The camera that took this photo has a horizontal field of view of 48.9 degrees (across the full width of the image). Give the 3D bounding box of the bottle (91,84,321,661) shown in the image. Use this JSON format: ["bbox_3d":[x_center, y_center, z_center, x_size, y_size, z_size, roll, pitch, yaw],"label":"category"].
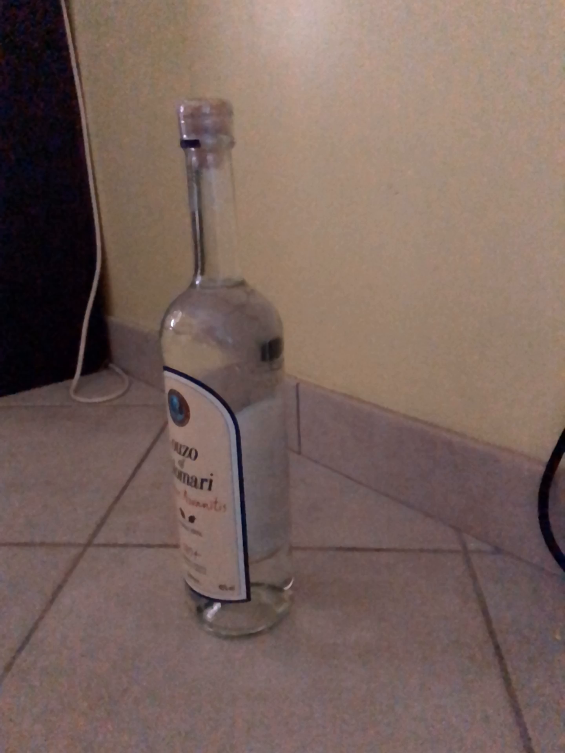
[{"bbox_3d":[-0.037,0.003,0.378,0.080,0.319,0.080,-3,19,1],"label":"bottle"}]
